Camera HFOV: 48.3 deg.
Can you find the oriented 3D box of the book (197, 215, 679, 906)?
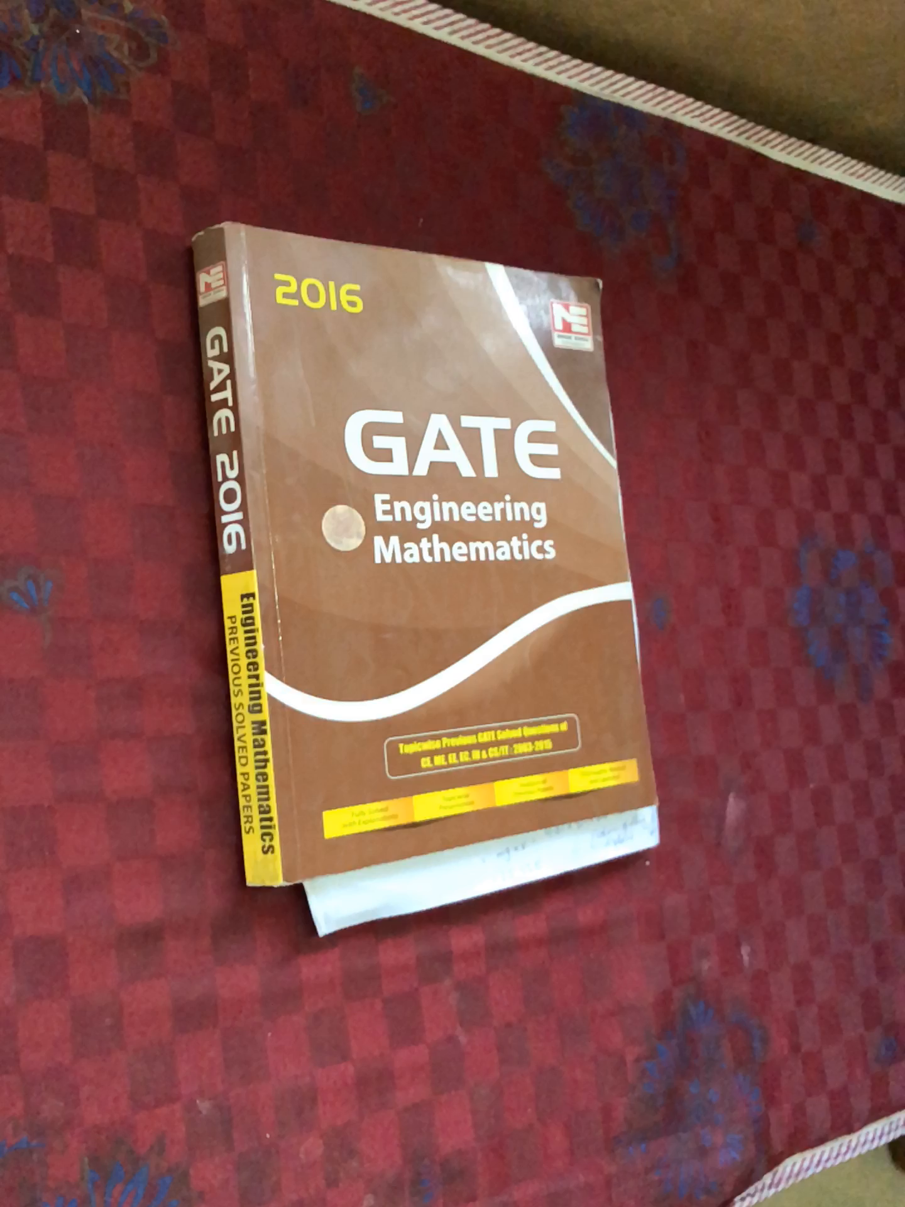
[{"bbox_3d":[-0.001,-0.025,0.506,0.221,0.040,0.300,-3,83,-32],"label":"book"}]
